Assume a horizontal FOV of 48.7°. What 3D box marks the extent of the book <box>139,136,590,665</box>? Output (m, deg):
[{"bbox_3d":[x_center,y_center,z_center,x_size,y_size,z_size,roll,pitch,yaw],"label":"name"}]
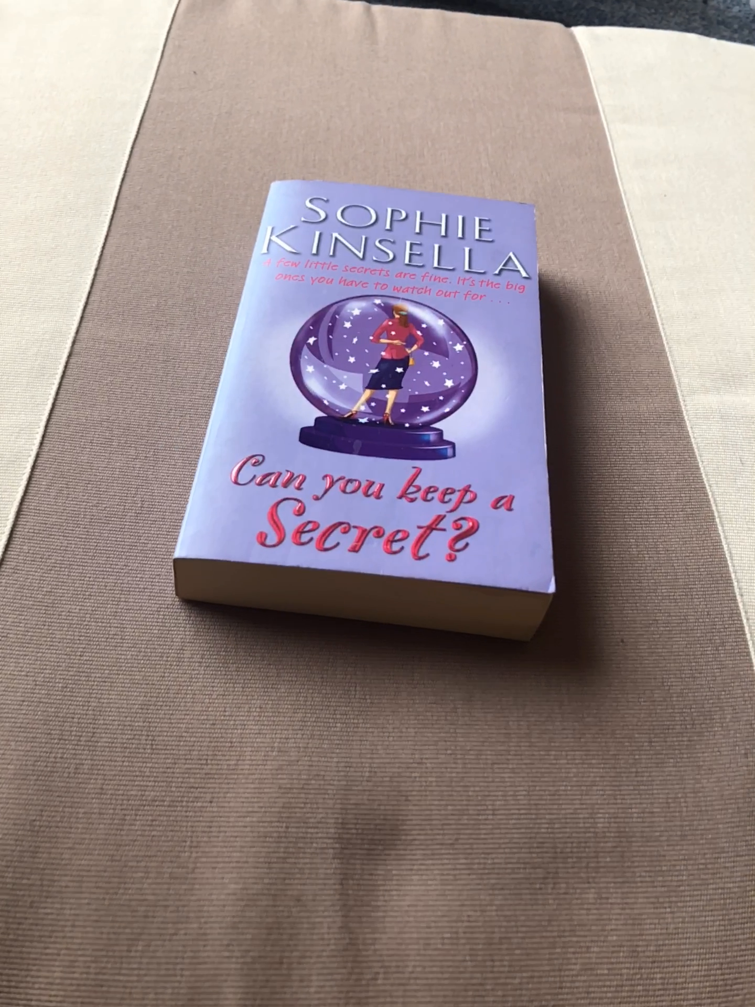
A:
[{"bbox_3d":[0.003,-0.045,0.272,0.110,0.040,0.181,7,54,-2],"label":"book"}]
